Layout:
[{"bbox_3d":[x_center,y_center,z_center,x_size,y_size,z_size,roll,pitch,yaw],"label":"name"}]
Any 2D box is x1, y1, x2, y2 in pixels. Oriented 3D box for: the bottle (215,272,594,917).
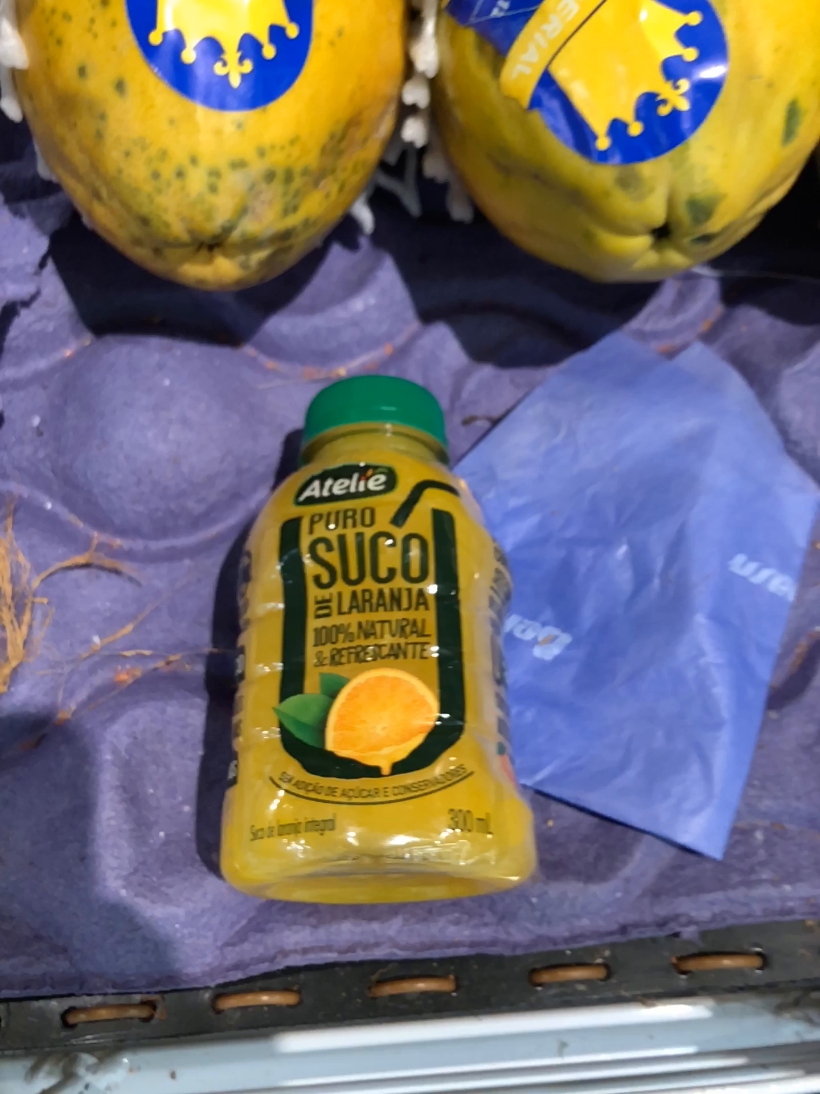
[{"bbox_3d":[-0.004,0.011,0.224,0.070,0.060,0.140,-1,70,-2],"label":"bottle"}]
